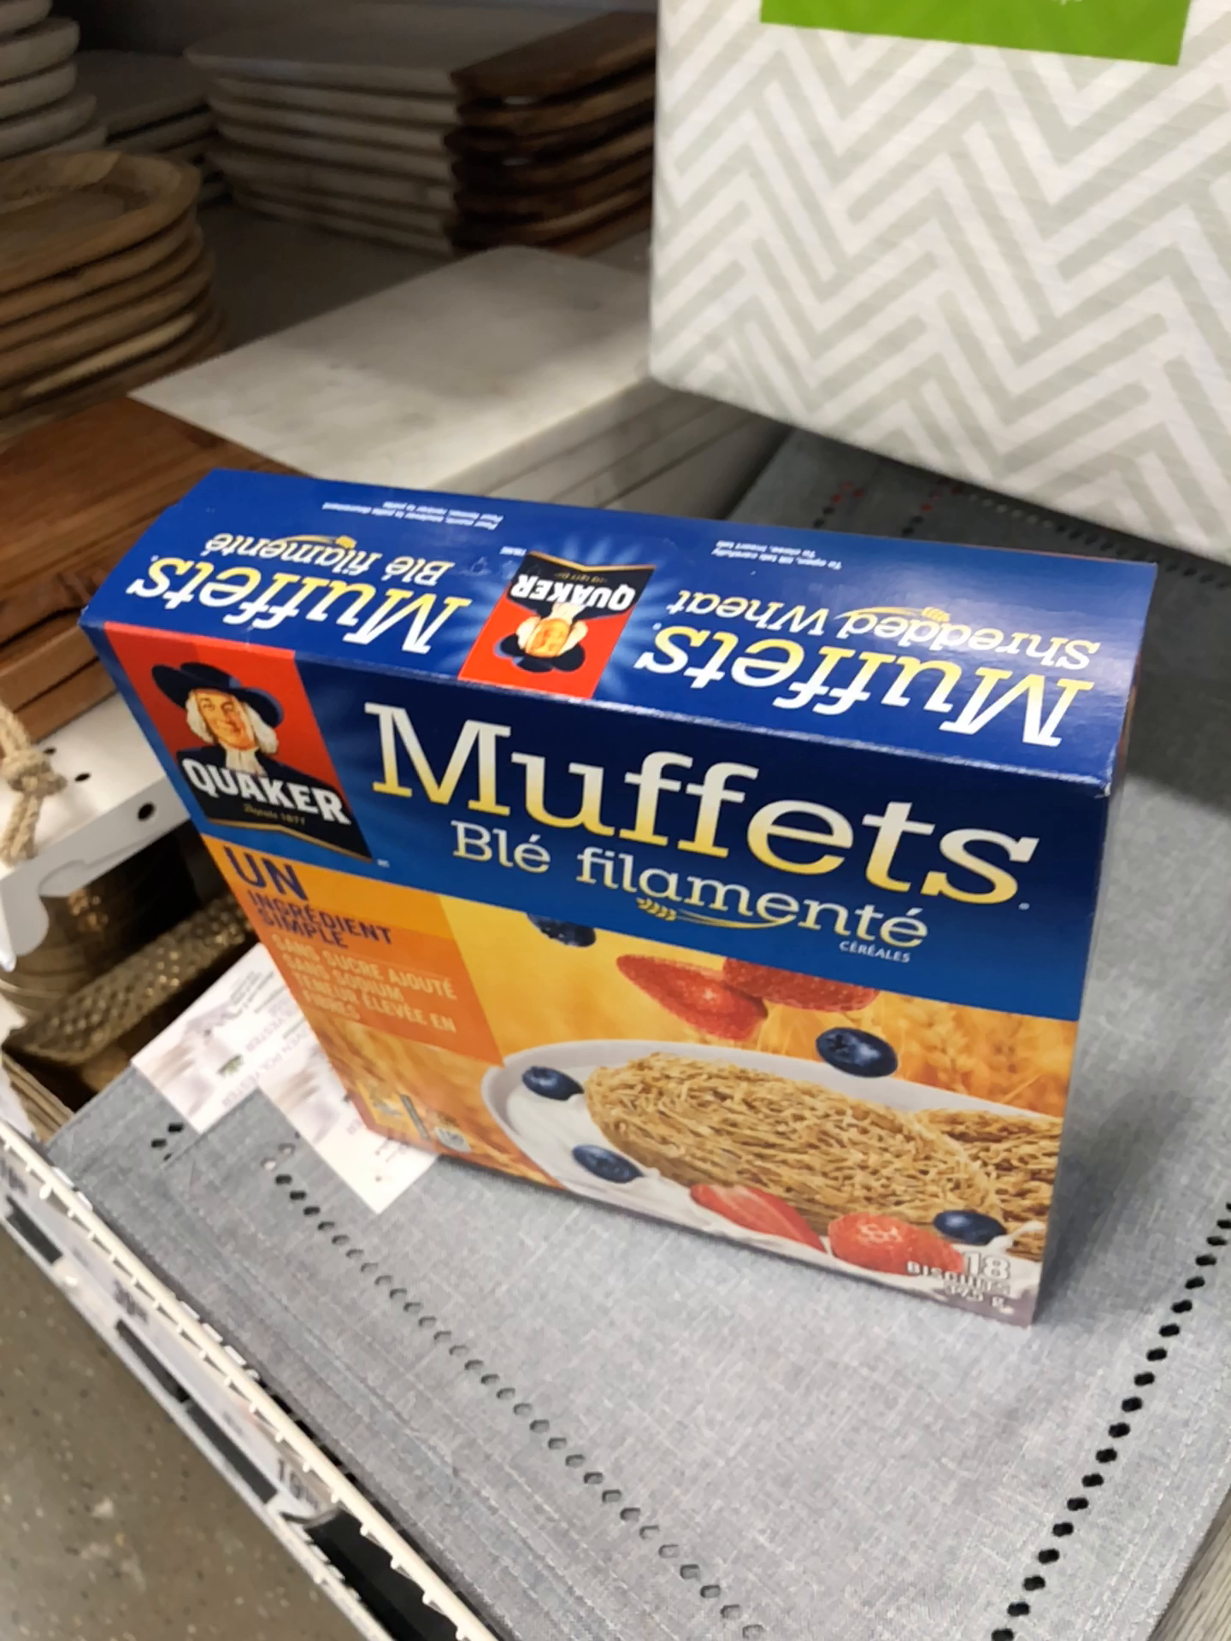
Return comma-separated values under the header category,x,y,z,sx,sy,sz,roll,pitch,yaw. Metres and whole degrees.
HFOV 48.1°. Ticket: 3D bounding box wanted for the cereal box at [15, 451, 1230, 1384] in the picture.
category,x,y,z,sx,sy,sz,roll,pitch,yaw
cereal box,0.009,0.031,0.360,0.250,0.229,0.060,12,51,22
